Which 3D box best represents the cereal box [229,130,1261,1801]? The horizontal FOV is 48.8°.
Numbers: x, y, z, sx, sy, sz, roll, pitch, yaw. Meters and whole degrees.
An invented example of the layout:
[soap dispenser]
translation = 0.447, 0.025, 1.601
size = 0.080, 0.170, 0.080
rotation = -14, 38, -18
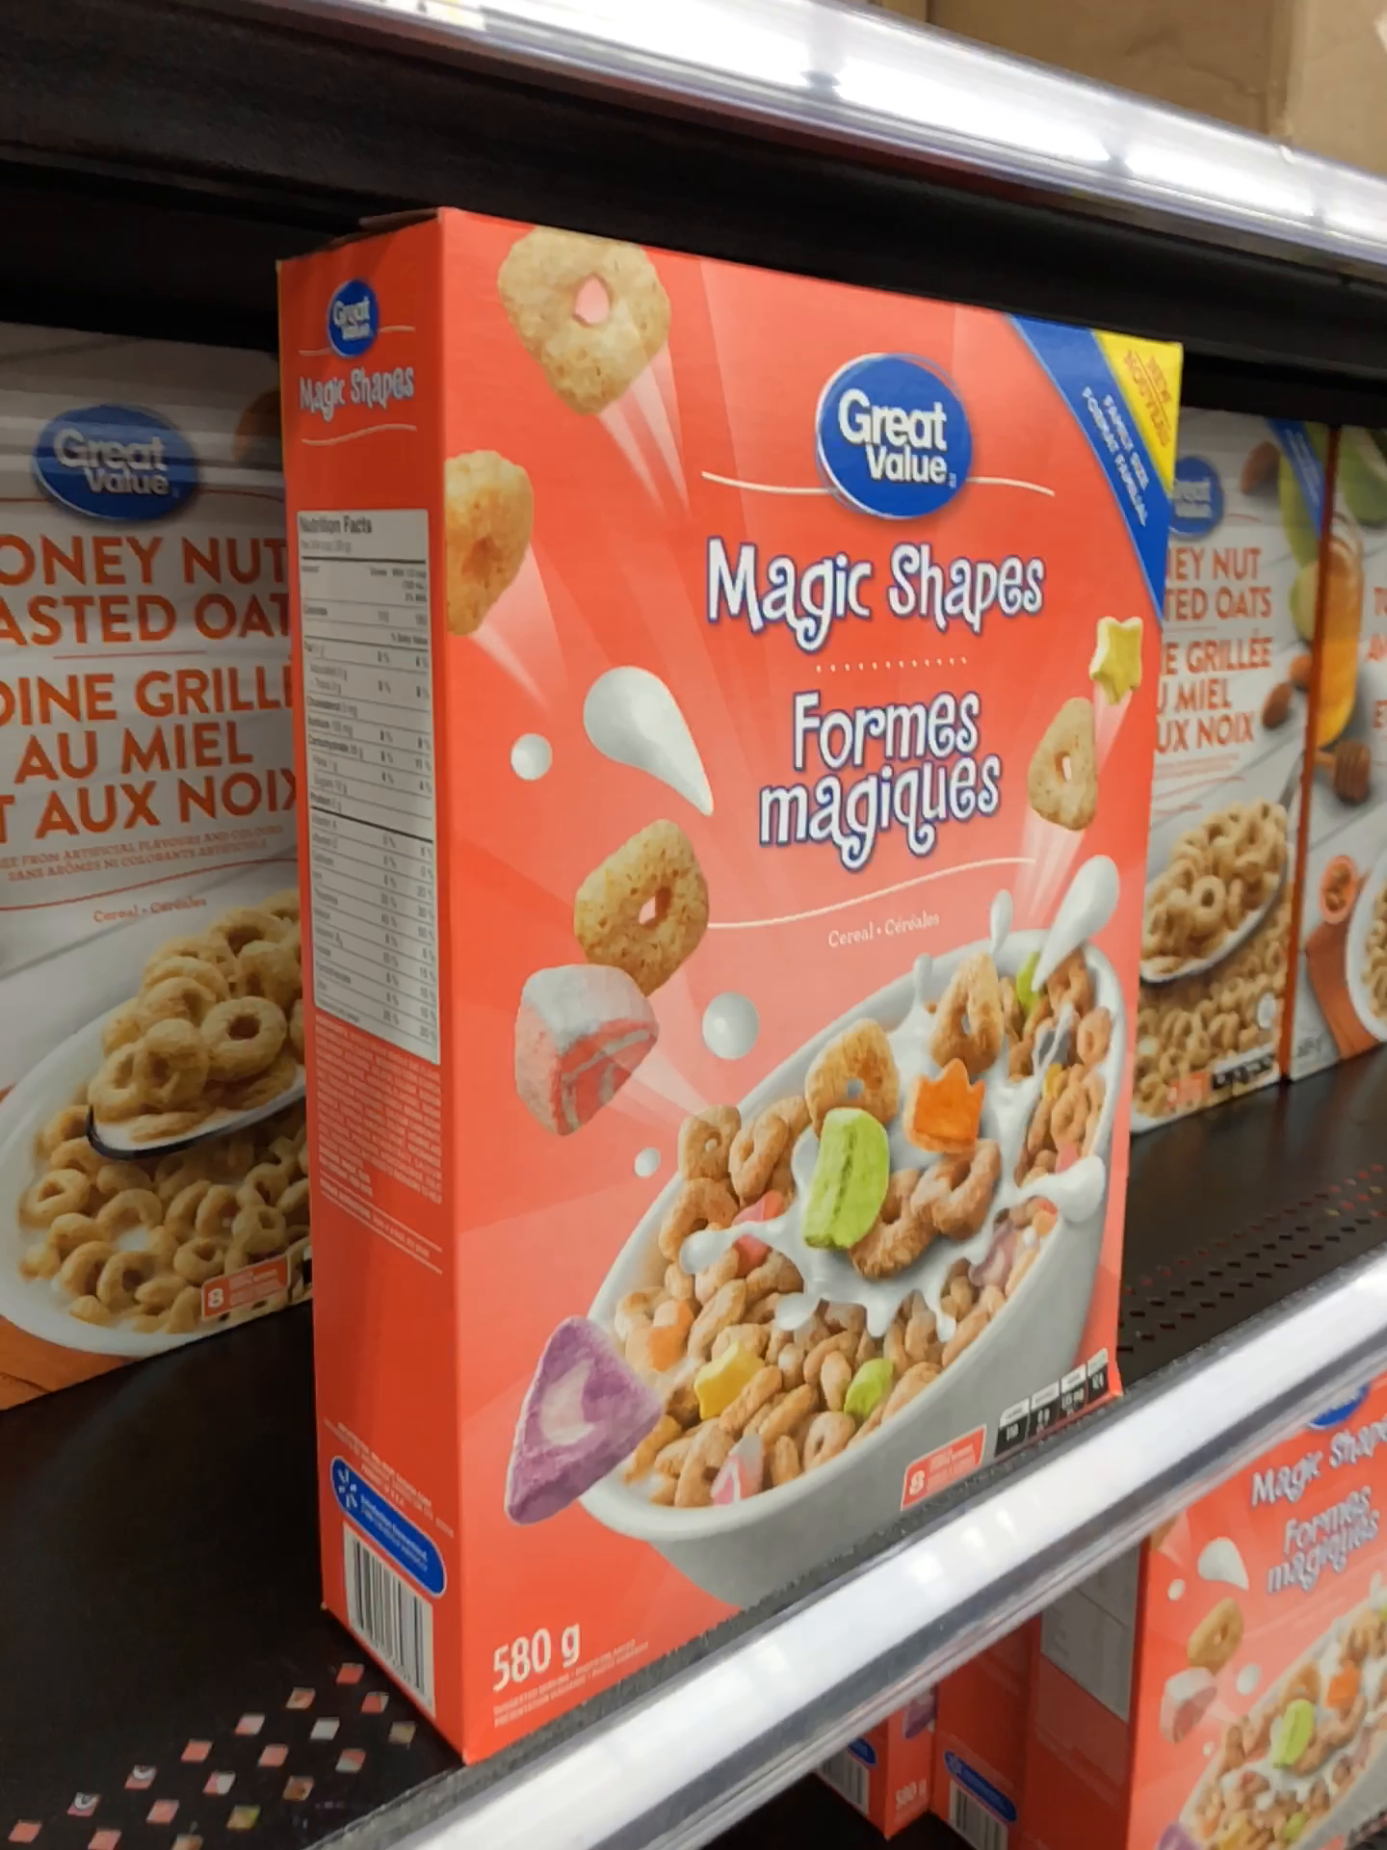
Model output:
[cereal box]
translation = 0.028, 0.001, 0.391
size = 0.261, 0.319, 0.070
rotation = -10, 18, -40
